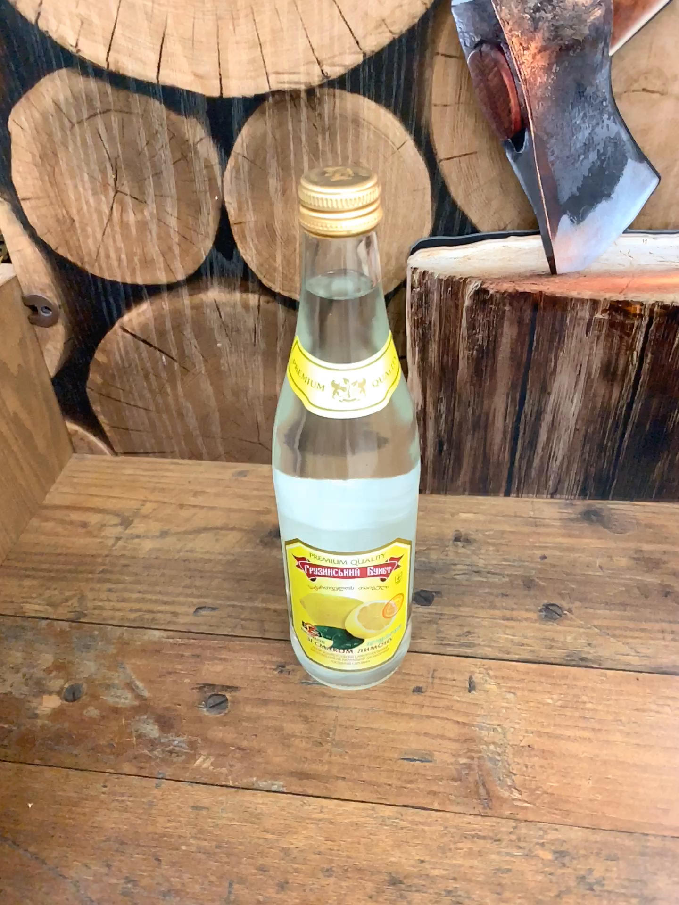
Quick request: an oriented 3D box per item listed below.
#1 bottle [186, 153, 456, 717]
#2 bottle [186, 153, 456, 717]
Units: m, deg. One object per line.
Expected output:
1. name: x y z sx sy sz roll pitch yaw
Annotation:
1. bottle: 0.001 0.008 0.275 0.070 0.219 0.070 -1 38 1
2. bottle: 0.001 0.008 0.275 0.070 0.219 0.070 -1 38 1
